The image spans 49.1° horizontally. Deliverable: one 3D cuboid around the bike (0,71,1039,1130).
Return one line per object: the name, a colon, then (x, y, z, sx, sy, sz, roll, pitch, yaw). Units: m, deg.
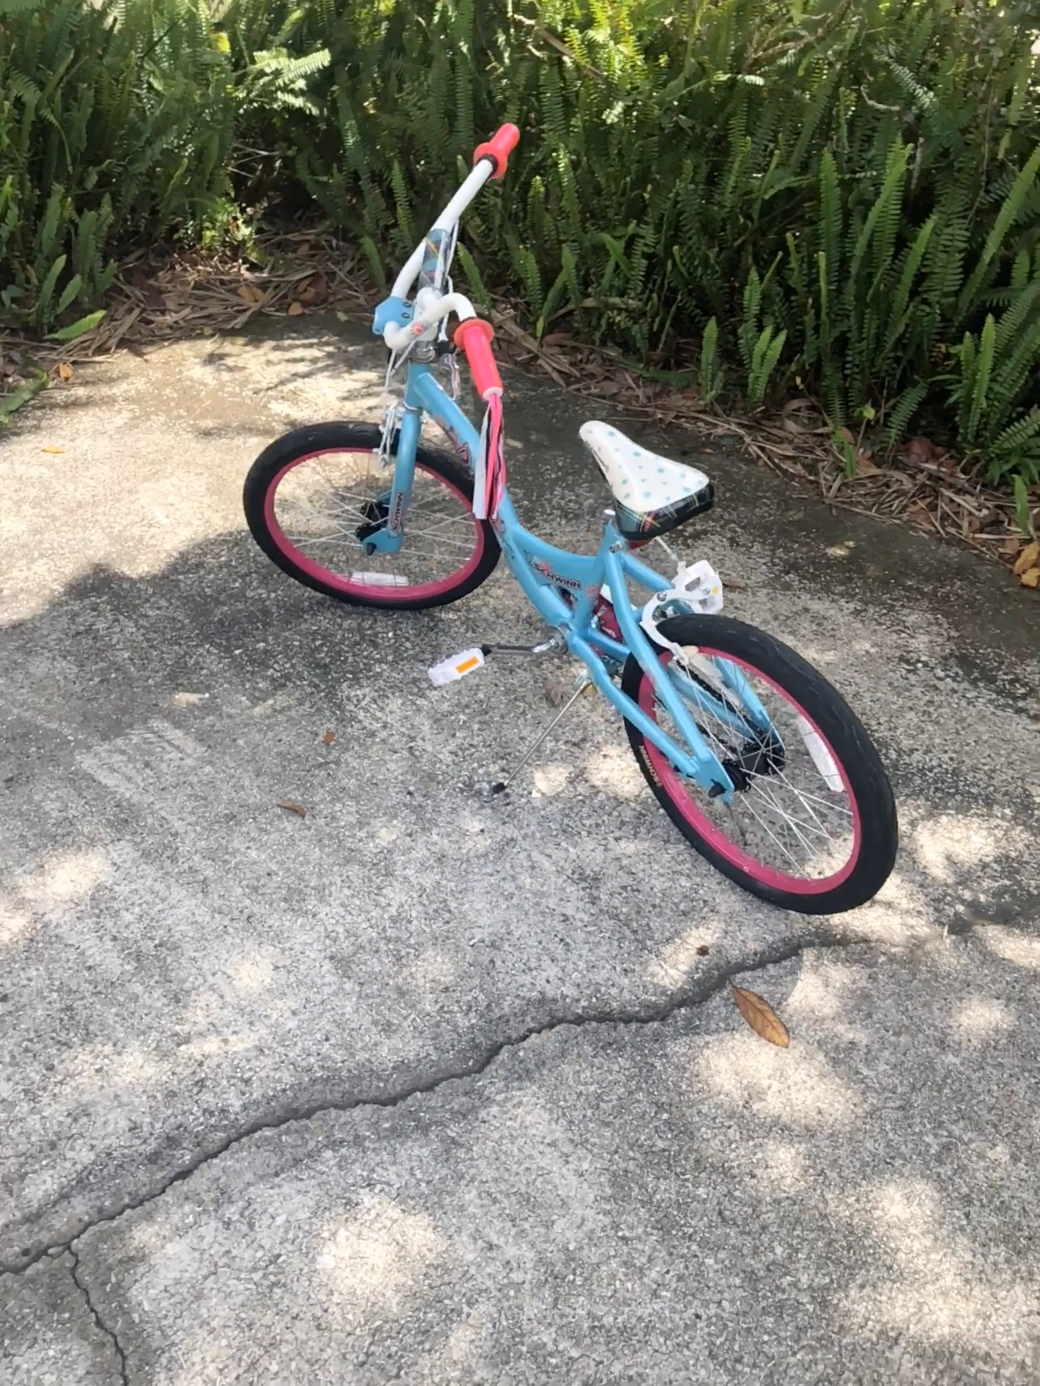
bike: (-0.044, -0.248, 1.668, 1.312, 0.923, 0.701, 31, 43, 30)
